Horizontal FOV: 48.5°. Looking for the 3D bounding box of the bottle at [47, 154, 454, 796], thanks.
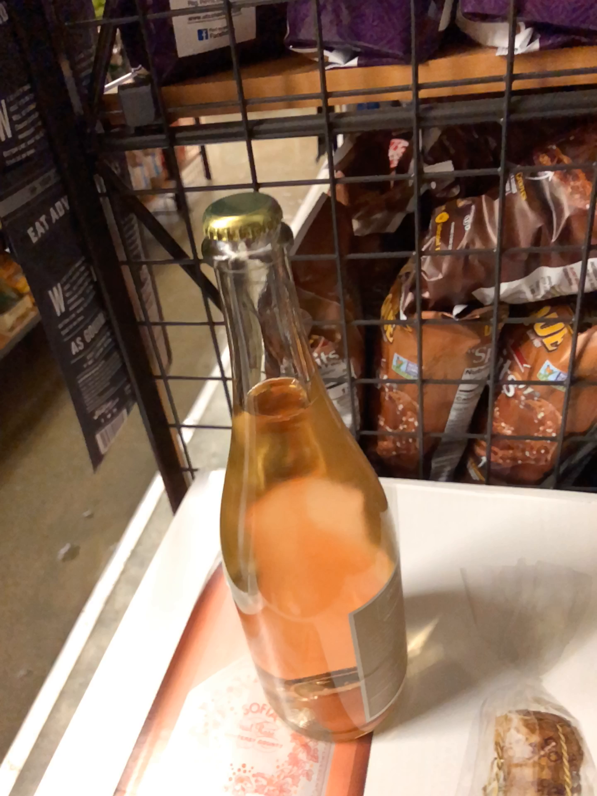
[{"bbox_3d":[0.008,0.061,0.298,0.095,0.304,0.099,-6,35,4],"label":"bottle"}]
